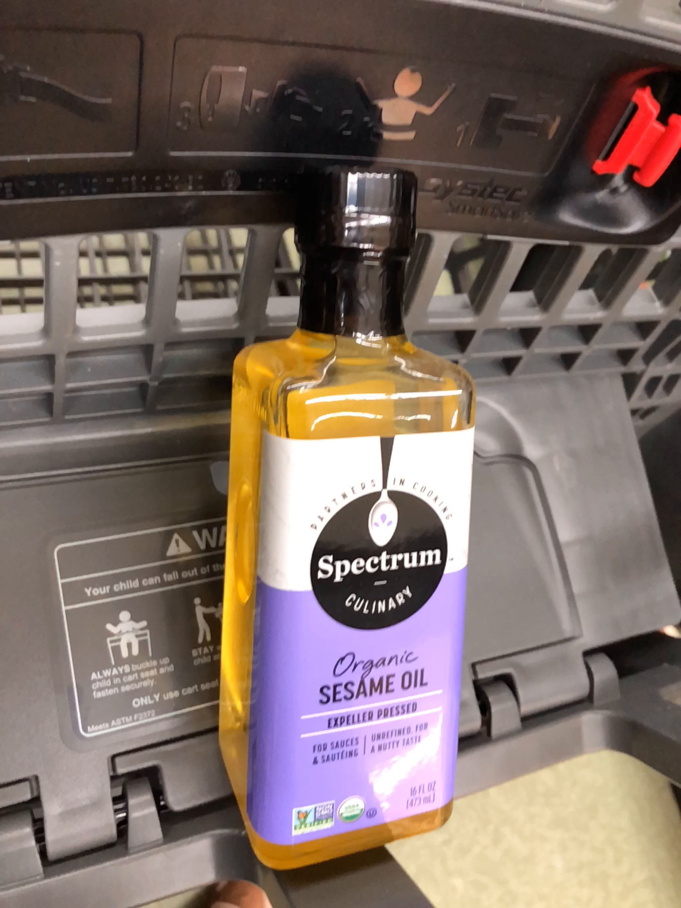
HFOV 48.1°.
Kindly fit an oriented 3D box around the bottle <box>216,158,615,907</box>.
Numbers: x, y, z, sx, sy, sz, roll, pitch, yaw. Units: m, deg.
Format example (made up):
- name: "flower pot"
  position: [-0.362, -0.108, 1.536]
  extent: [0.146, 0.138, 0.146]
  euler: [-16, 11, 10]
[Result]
- name: "bottle"
  position: [0.010, 0.022, 0.229]
  extent: [0.080, 0.065, 0.200]
  euler: [-4, 110, -22]
